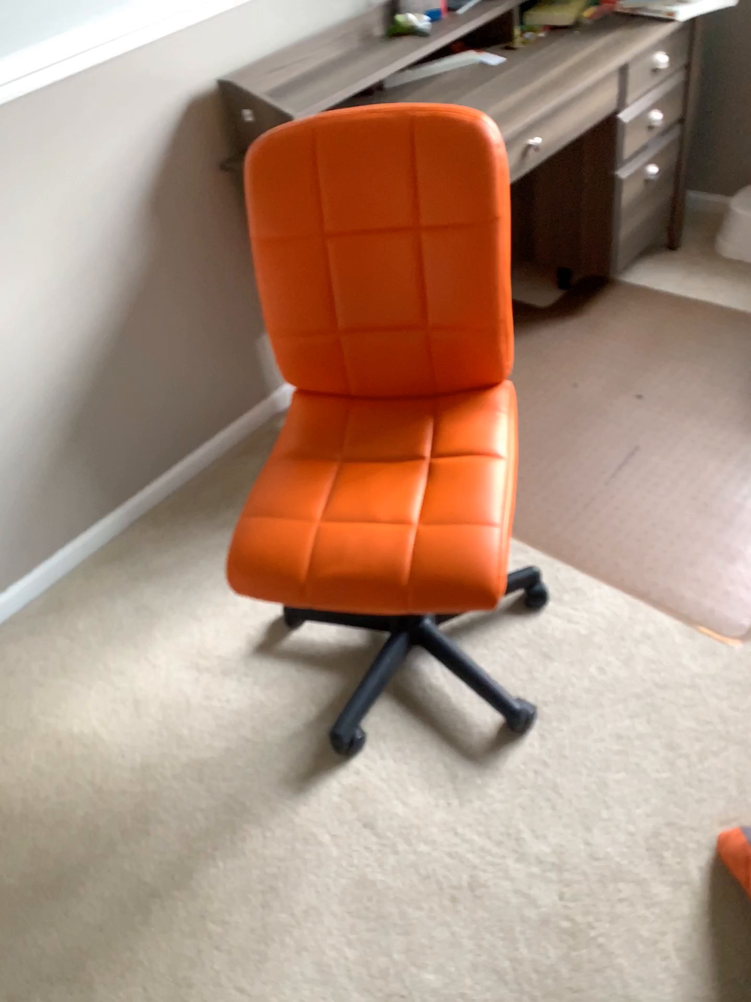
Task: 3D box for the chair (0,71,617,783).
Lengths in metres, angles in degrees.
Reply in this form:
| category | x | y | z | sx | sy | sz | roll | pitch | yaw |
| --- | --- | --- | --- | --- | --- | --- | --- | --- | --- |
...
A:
| category | x | y | z | sx | sy | sz | roll | pitch | yaw |
| --- | --- | --- | --- | --- | --- | --- | --- | --- | --- |
| chair | 0.032 | -0.072 | 1.236 | 0.614 | 0.901 | 0.621 | 1 | 45 | 14 |
